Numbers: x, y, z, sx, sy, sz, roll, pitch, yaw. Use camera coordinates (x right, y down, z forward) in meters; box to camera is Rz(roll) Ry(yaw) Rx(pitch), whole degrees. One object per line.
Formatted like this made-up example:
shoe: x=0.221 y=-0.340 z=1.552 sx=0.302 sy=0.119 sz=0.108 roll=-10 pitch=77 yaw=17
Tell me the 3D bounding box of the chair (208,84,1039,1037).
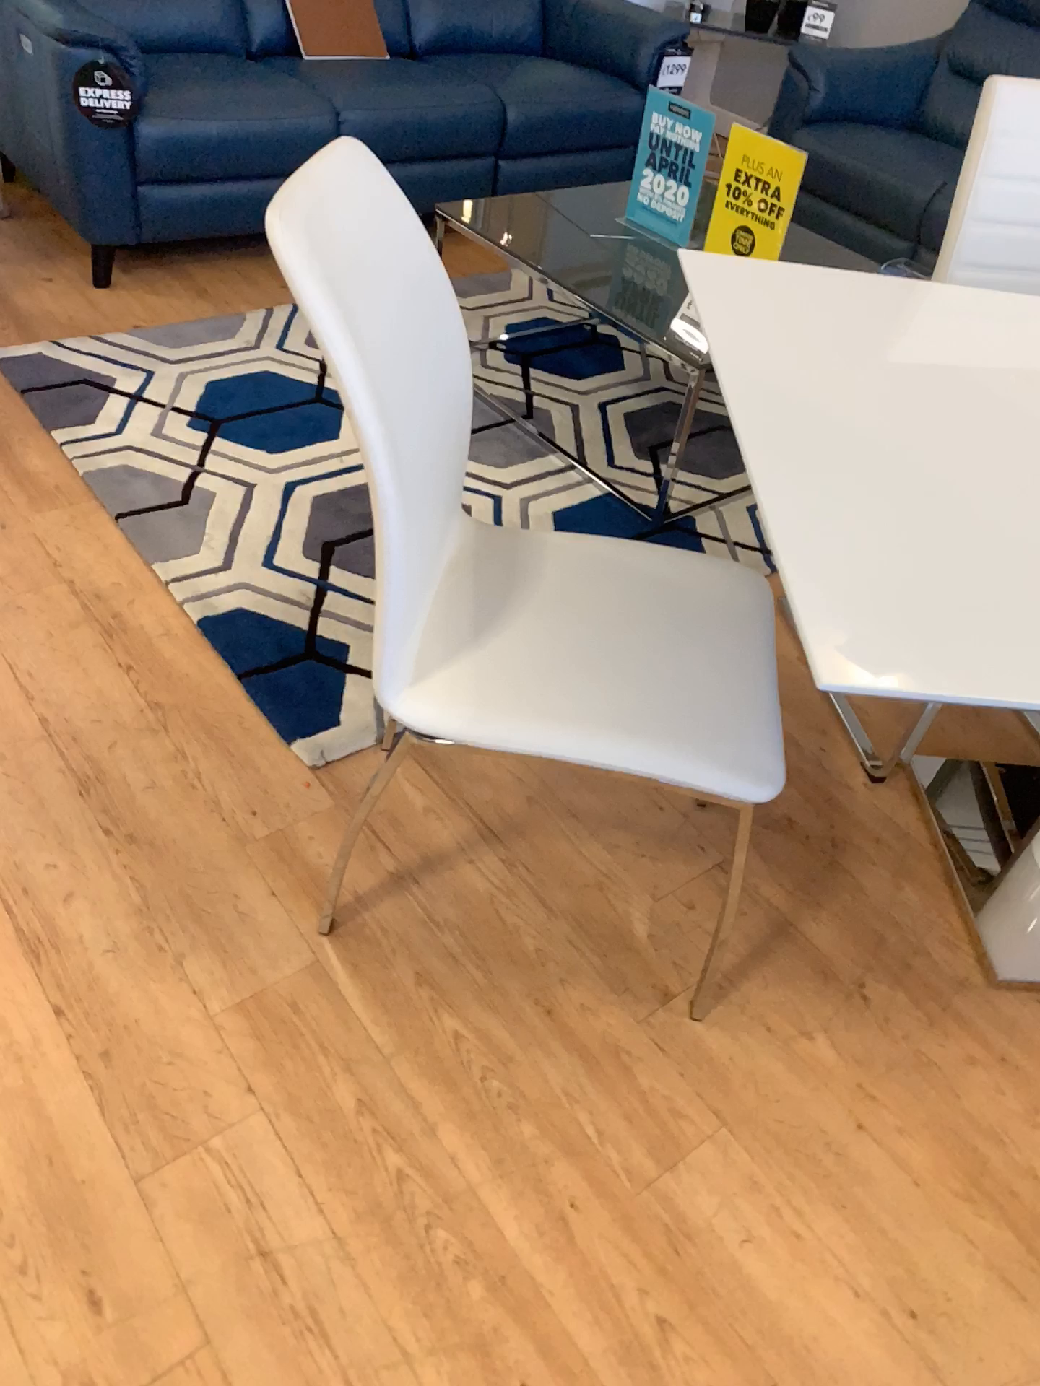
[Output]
chair: x=0.057 y=-0.115 z=1.235 sx=0.628 sy=0.863 sz=0.520 roll=11 pitch=42 yaw=0
